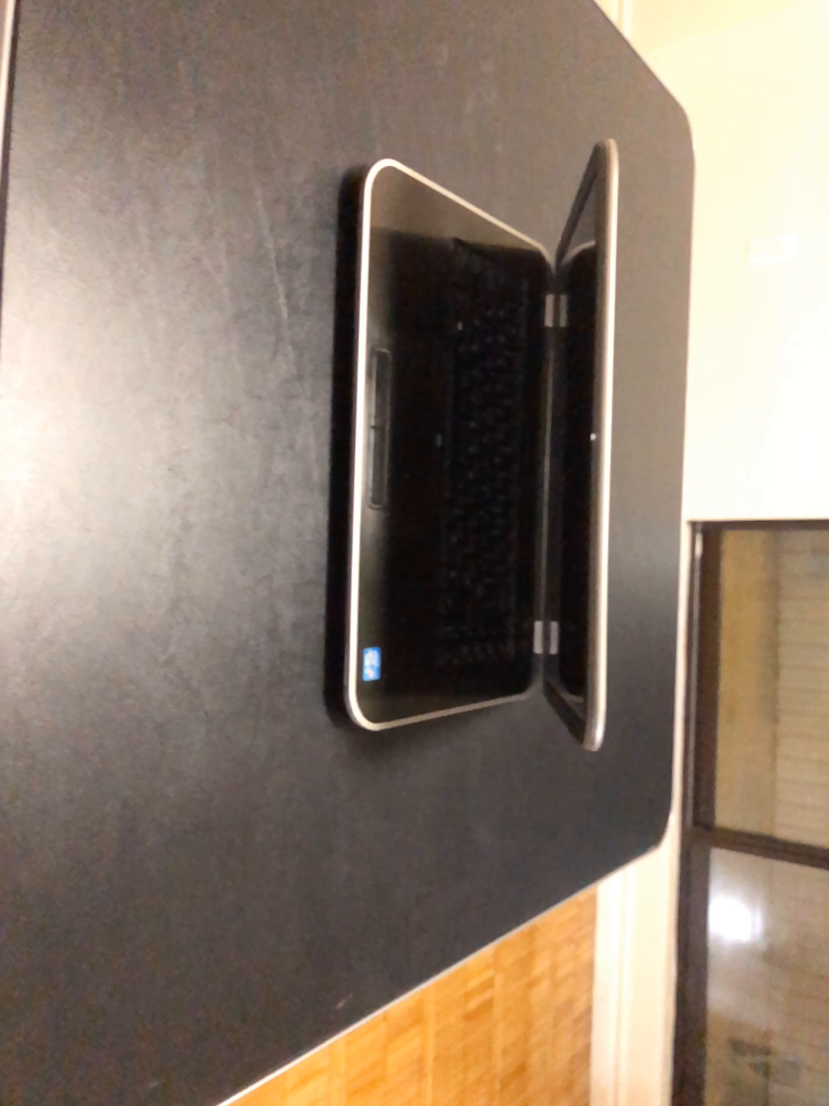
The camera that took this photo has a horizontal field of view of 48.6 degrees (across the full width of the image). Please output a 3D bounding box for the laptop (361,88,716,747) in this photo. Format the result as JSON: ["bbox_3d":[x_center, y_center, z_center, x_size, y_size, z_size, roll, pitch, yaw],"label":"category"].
[{"bbox_3d":[0.096,-0.074,0.634,0.241,0.137,0.356,0,91,-54],"label":"laptop"}]
